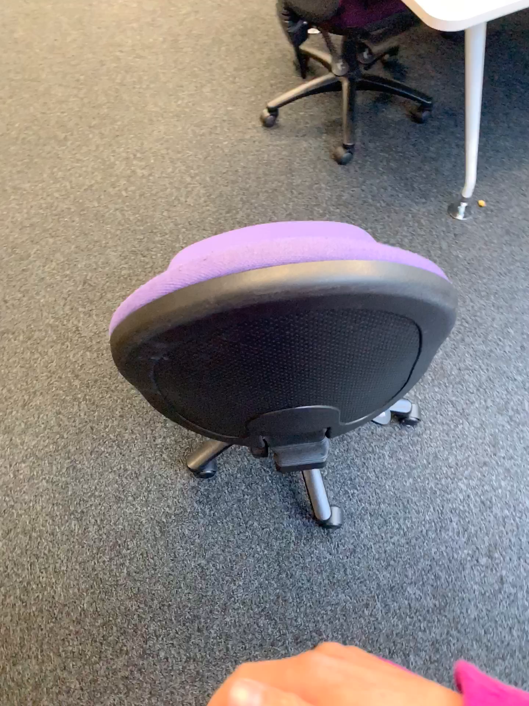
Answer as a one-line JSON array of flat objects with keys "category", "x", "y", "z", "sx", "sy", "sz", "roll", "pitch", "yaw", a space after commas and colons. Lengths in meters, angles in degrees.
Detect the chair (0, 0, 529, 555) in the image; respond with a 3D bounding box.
[{"category": "chair", "x": 0.064, "y": -0.074, "z": 0.998, "sx": 0.668, "sy": 0.987, "sz": 0.638, "roll": -9, "pitch": 61, "yaw": 1}]
